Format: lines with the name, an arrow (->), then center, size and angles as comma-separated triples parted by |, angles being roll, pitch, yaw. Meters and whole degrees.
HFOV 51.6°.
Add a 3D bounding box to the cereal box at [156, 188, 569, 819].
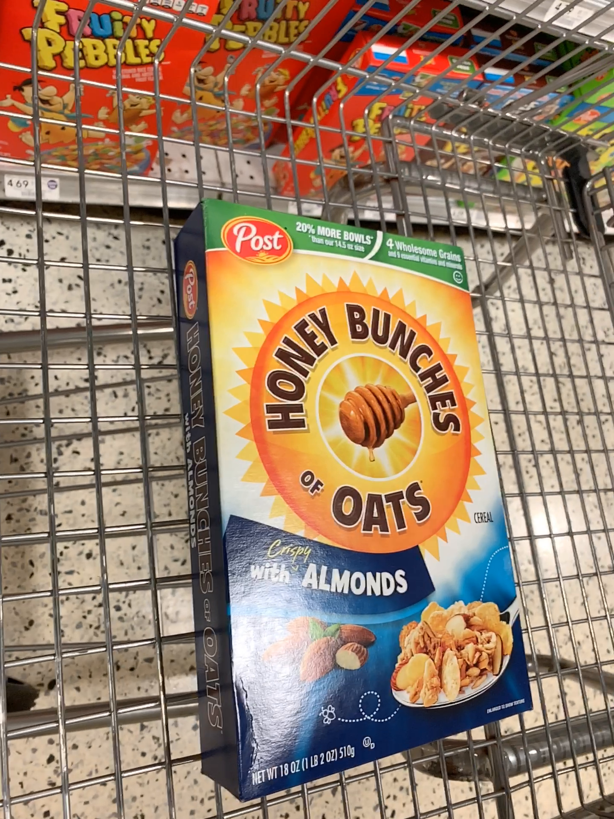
cereal box -> 0.030, 0.039, 0.375 | 0.211, 0.060, 0.301 | 2, 75, -30
